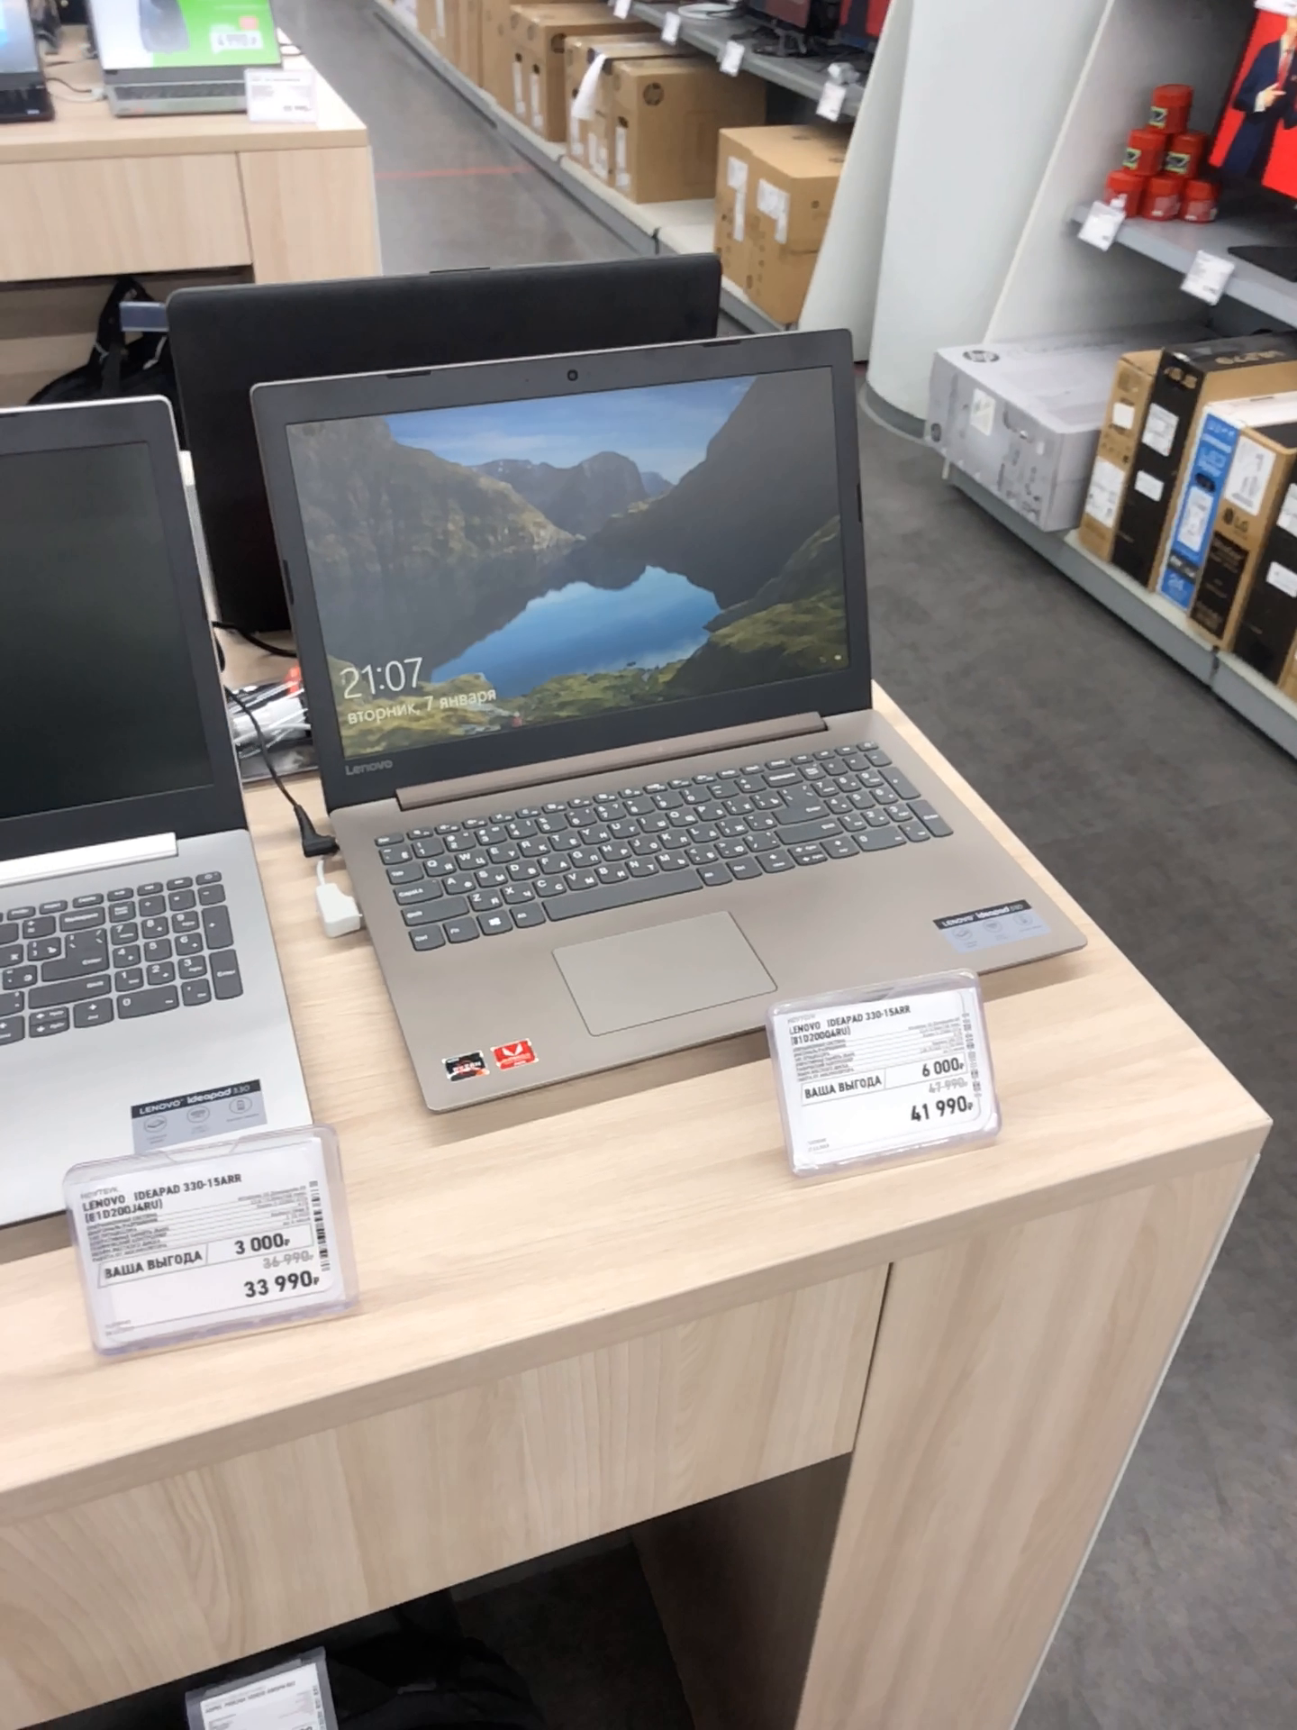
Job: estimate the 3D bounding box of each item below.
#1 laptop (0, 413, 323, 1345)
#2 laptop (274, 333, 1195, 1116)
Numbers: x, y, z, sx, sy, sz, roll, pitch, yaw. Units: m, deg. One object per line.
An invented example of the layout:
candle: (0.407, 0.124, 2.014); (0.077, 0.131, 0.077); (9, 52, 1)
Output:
laptop: (-0.364, -0.028, 0.631); (0.343, 0.207, 0.324); (-11, 40, -19)
laptop: (0.016, -0.103, 0.756); (0.351, 0.209, 0.330); (-12, 41, -17)
